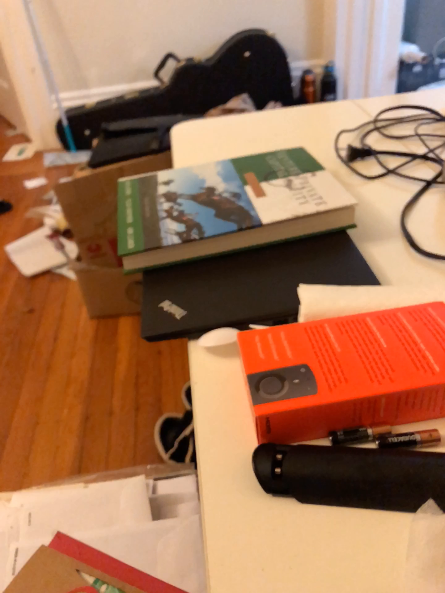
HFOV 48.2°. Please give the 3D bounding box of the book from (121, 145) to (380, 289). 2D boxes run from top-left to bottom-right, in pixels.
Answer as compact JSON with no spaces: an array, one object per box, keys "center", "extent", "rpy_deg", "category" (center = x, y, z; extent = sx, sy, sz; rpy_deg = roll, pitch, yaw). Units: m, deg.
[{"center":[0.015,-0.110,0.606],"extent":[0.270,0.030,0.221],"rpy_deg":[-11,37,-4],"category":"book"}]
